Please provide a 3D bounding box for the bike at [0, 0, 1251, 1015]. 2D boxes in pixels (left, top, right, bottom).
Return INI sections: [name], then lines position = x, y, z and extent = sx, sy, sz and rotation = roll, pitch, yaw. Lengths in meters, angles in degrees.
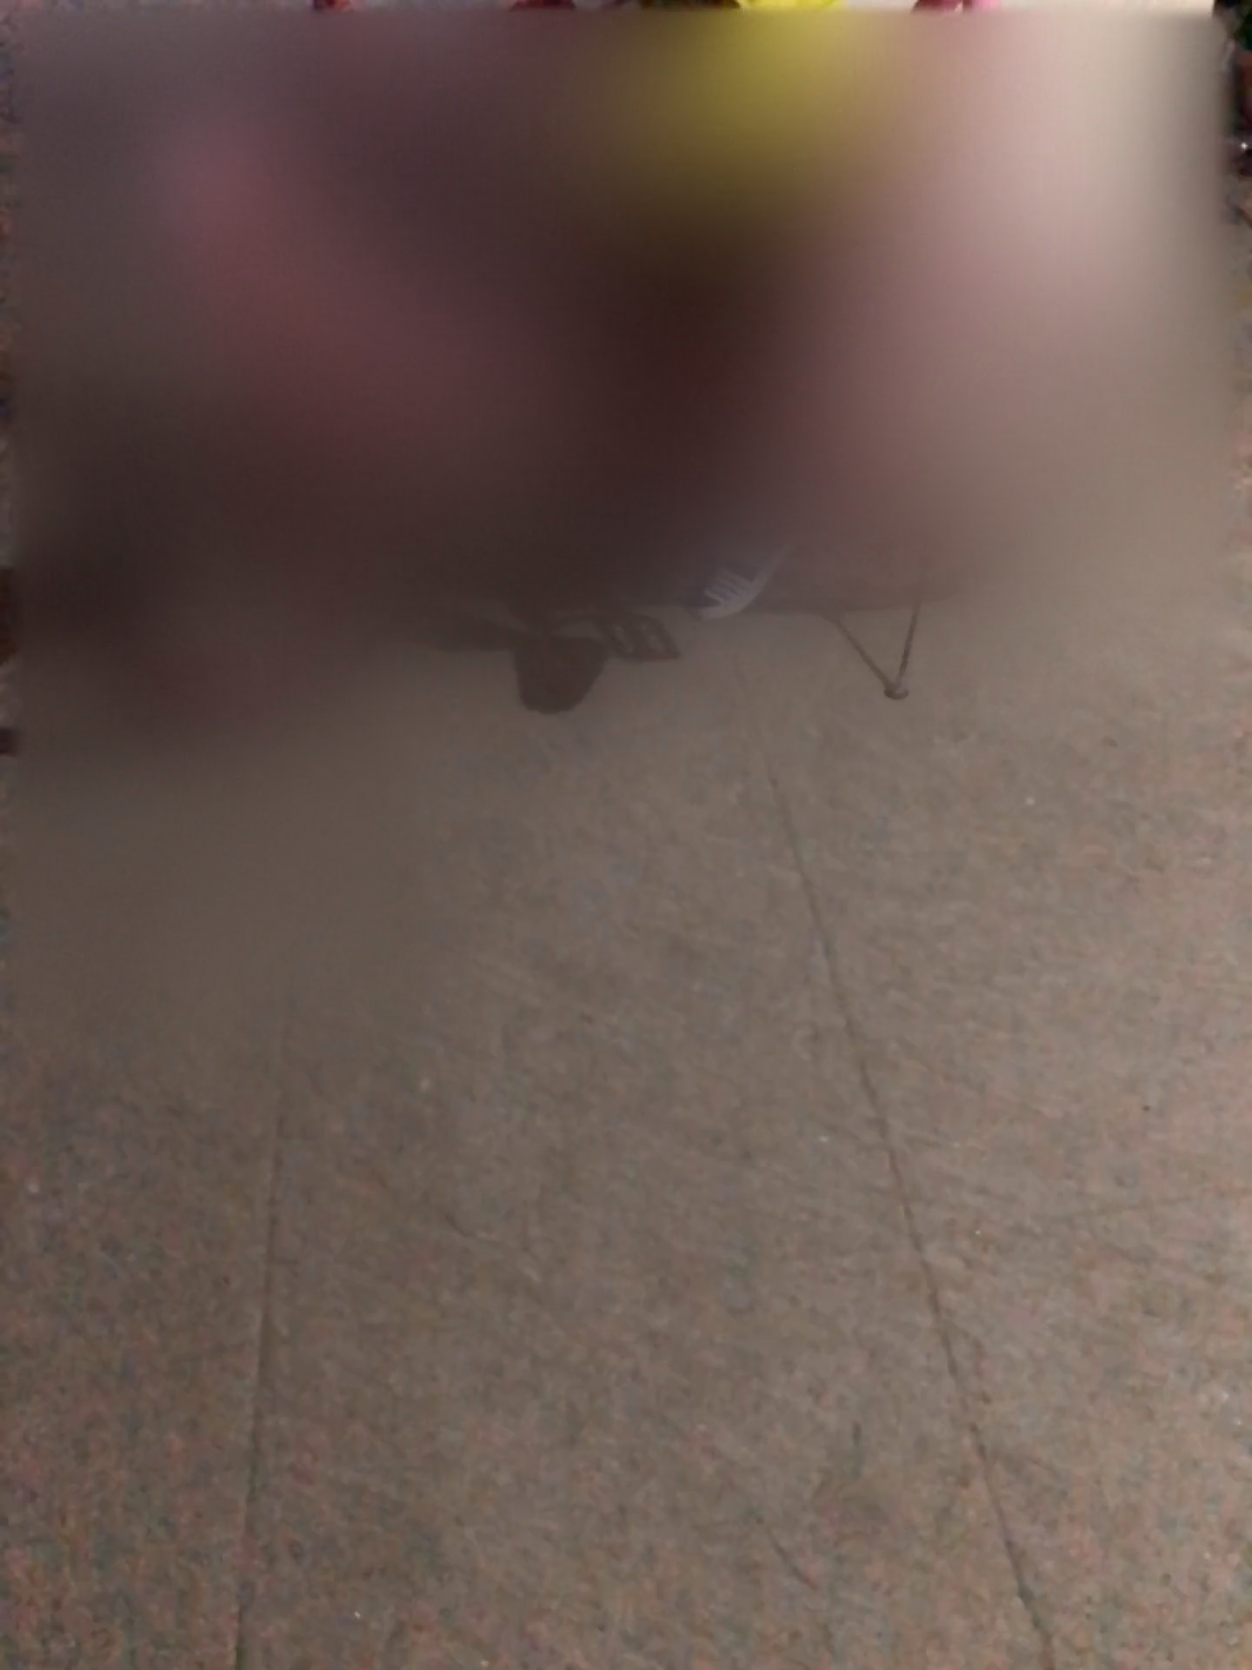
[bike]
position = 0.024, -0.439, 1.466
extent = 1.279, 0.910, 0.496
rotation = -12, 43, -10
